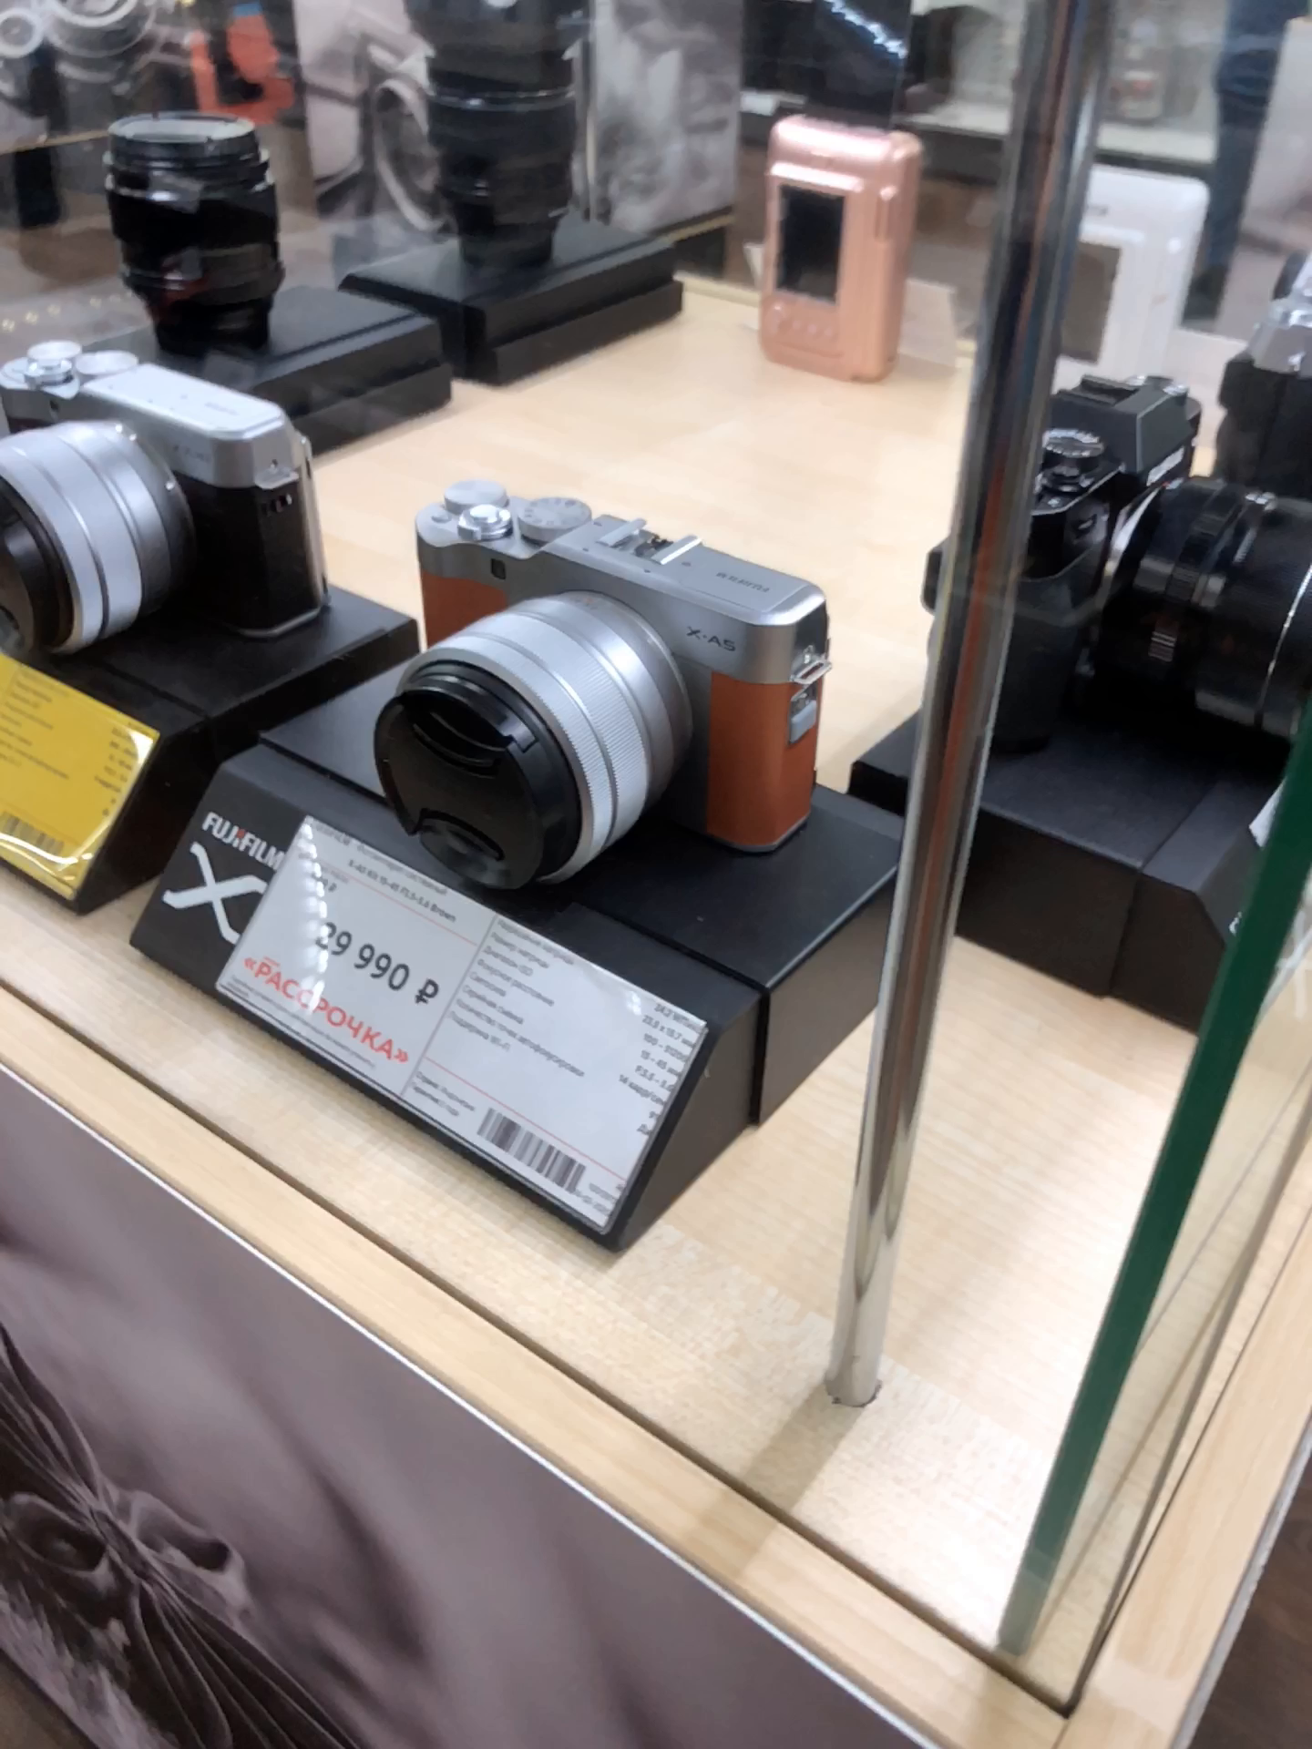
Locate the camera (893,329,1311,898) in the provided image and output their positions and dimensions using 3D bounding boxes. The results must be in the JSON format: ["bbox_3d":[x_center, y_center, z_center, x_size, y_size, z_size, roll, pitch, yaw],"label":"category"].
[{"bbox_3d":[0.153,-0.082,0.409,0.112,0.090,0.131,24,42,28],"label":"camera"}]

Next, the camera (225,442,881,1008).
[{"bbox_3d":[-0.024,-0.044,0.361,0.121,0.075,0.093,24,42,28],"label":"camera"}]

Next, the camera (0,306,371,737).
[{"bbox_3d":[-0.165,-0.112,0.439,0.121,0.075,0.093,24,42,28],"label":"camera"}]
